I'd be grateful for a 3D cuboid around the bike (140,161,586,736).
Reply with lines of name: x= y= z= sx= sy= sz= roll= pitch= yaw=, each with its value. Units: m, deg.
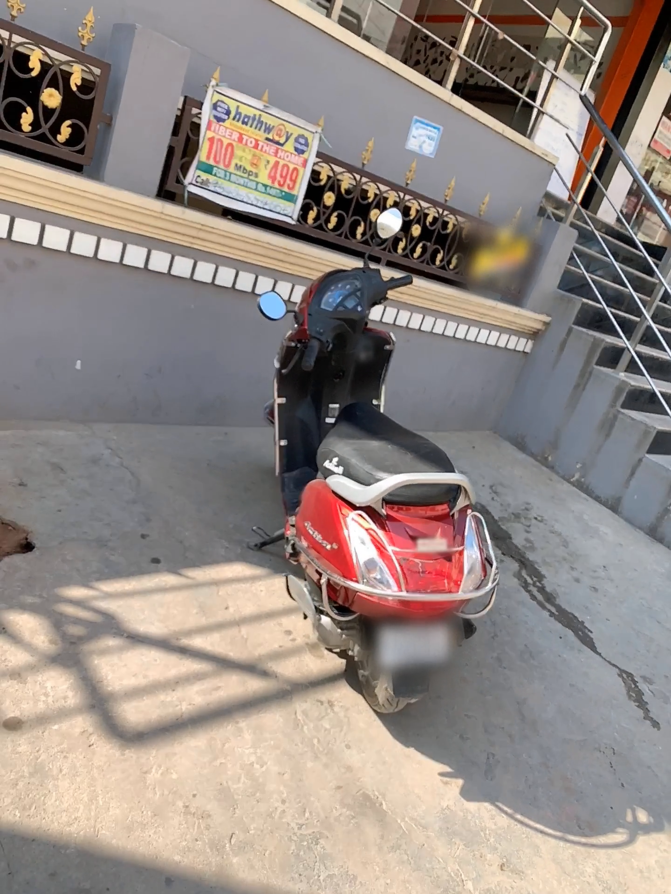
bike: x=-0.153 y=-0.176 z=2.437 sx=0.623 sy=1.165 sz=1.761 roll=11 pitch=23 yaw=-26
